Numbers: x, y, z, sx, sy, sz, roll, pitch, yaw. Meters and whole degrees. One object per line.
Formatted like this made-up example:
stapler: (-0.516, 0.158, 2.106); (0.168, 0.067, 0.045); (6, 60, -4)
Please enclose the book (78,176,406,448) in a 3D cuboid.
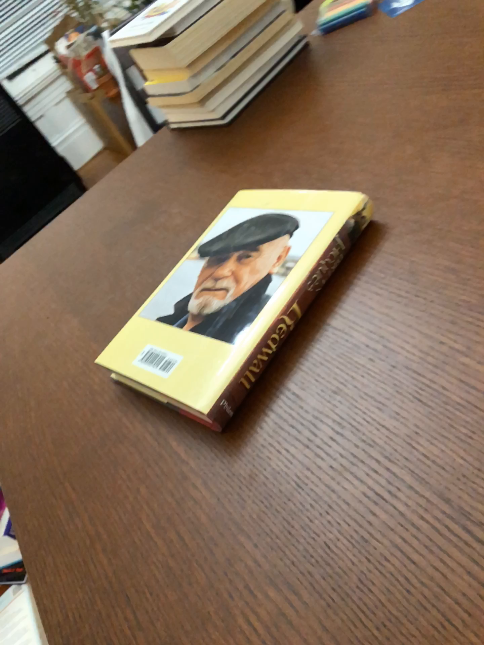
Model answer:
book: (-0.004, -0.035, 0.467); (0.191, 0.030, 0.251); (15, 59, 46)
